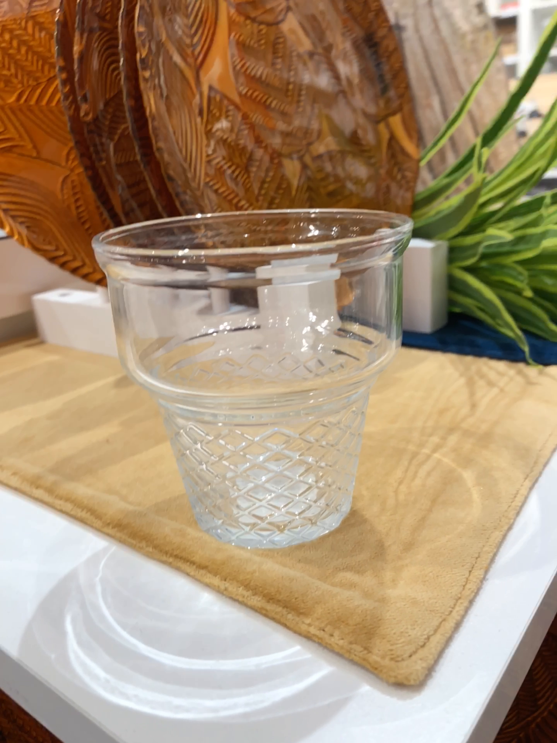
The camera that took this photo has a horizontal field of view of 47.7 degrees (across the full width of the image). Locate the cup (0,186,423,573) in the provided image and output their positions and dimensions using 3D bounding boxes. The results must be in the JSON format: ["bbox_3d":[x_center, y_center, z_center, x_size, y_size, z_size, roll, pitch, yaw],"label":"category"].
[{"bbox_3d":[-0.005,-0.006,0.161,0.080,0.070,0.080,-5,18,1],"label":"cup"}]
